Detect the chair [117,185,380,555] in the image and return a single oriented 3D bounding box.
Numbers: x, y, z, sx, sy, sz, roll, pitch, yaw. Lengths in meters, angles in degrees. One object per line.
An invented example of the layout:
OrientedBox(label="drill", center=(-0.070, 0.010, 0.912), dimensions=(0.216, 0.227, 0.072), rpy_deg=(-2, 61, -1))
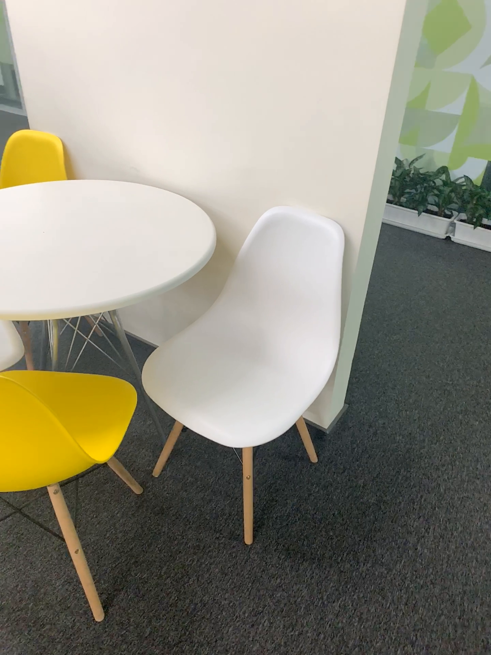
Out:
OrientedBox(label="chair", center=(-0.002, 0.120, 1.479), dimensions=(0.481, 0.875, 0.442), rpy_deg=(24, 40, 28))
